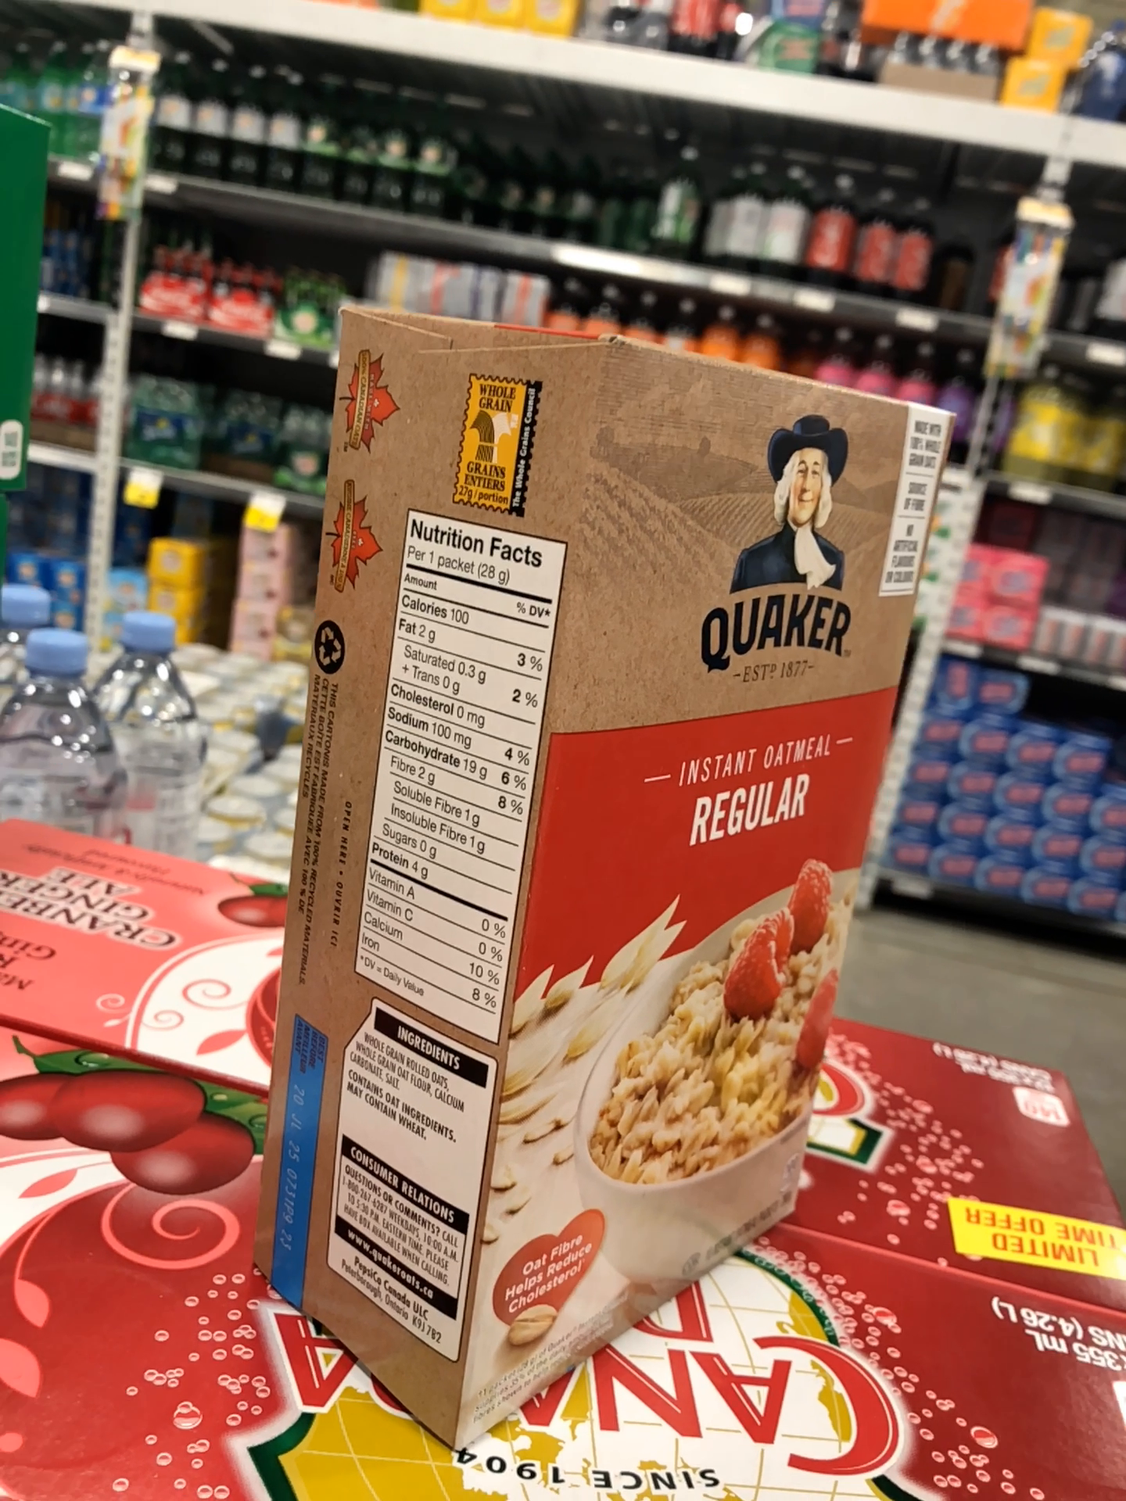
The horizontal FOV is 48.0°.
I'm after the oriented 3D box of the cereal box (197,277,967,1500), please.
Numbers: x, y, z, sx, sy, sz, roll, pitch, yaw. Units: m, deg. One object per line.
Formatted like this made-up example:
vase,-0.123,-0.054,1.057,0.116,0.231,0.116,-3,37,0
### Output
cereal box,0.006,0.018,0.267,0.070,0.199,0.130,18,16,36
